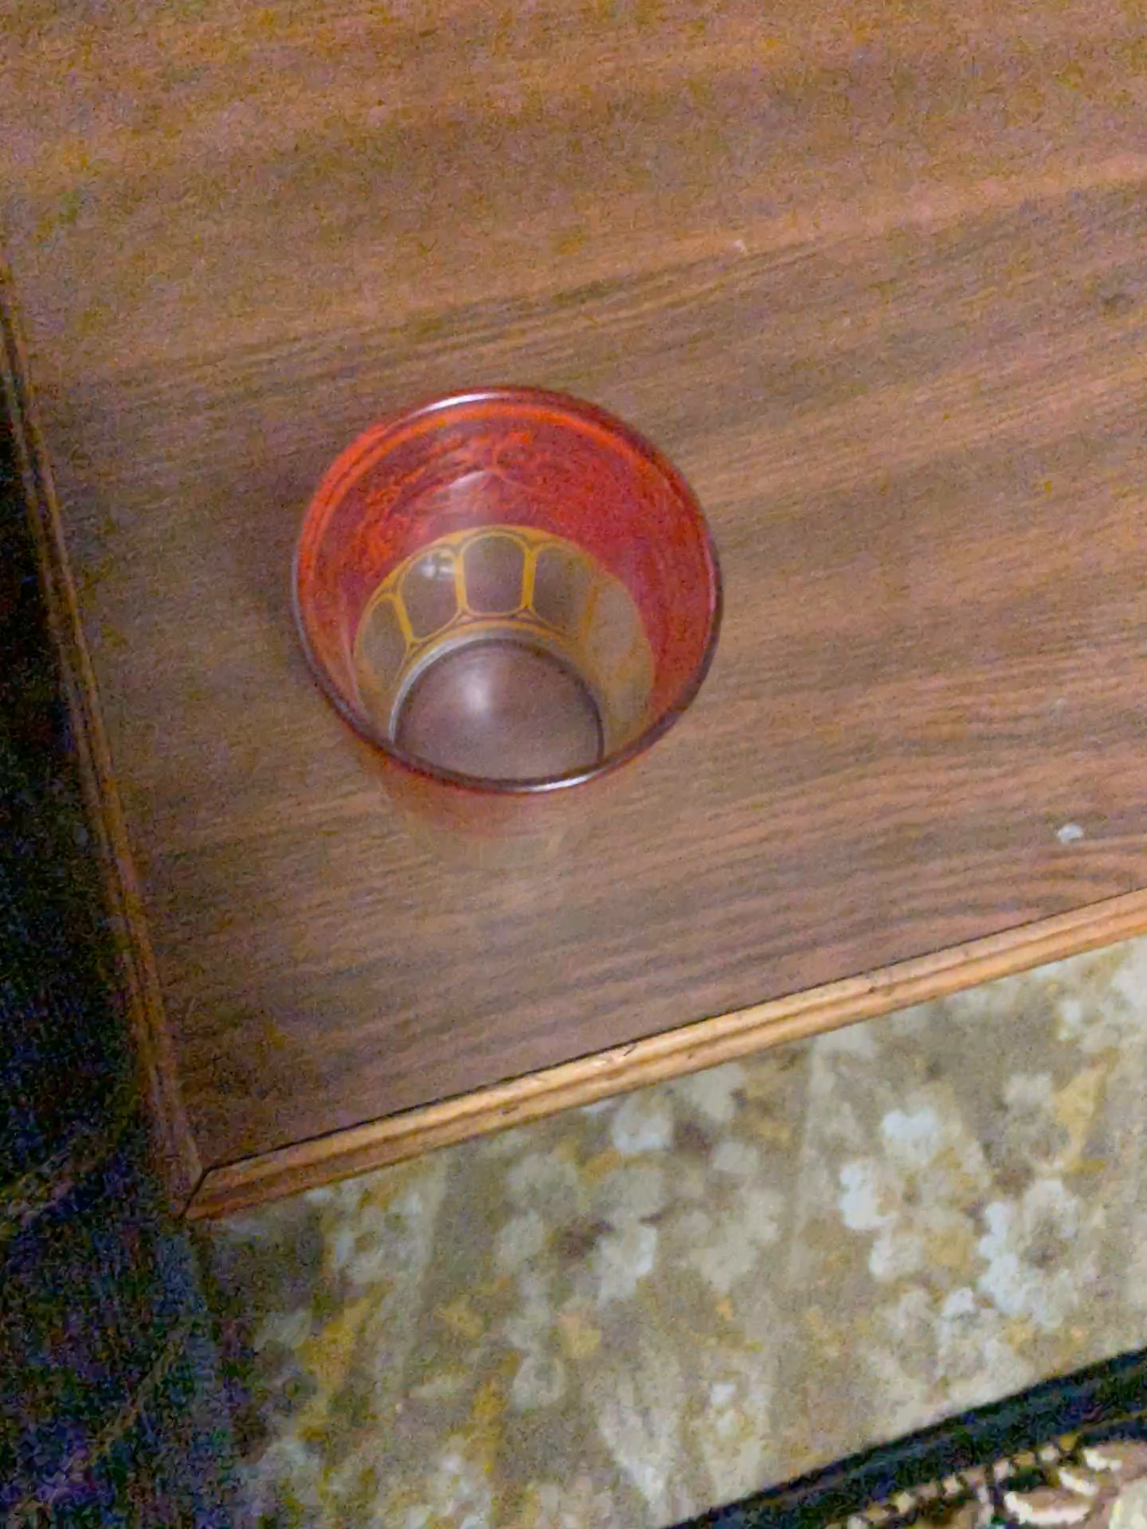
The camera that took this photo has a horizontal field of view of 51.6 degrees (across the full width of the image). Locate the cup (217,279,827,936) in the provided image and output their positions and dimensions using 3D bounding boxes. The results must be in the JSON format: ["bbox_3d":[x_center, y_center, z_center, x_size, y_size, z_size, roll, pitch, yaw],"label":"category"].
[{"bbox_3d":[-0.011,-0.019,0.215,0.066,0.100,0.069,1,75,-3],"label":"cup"}]
